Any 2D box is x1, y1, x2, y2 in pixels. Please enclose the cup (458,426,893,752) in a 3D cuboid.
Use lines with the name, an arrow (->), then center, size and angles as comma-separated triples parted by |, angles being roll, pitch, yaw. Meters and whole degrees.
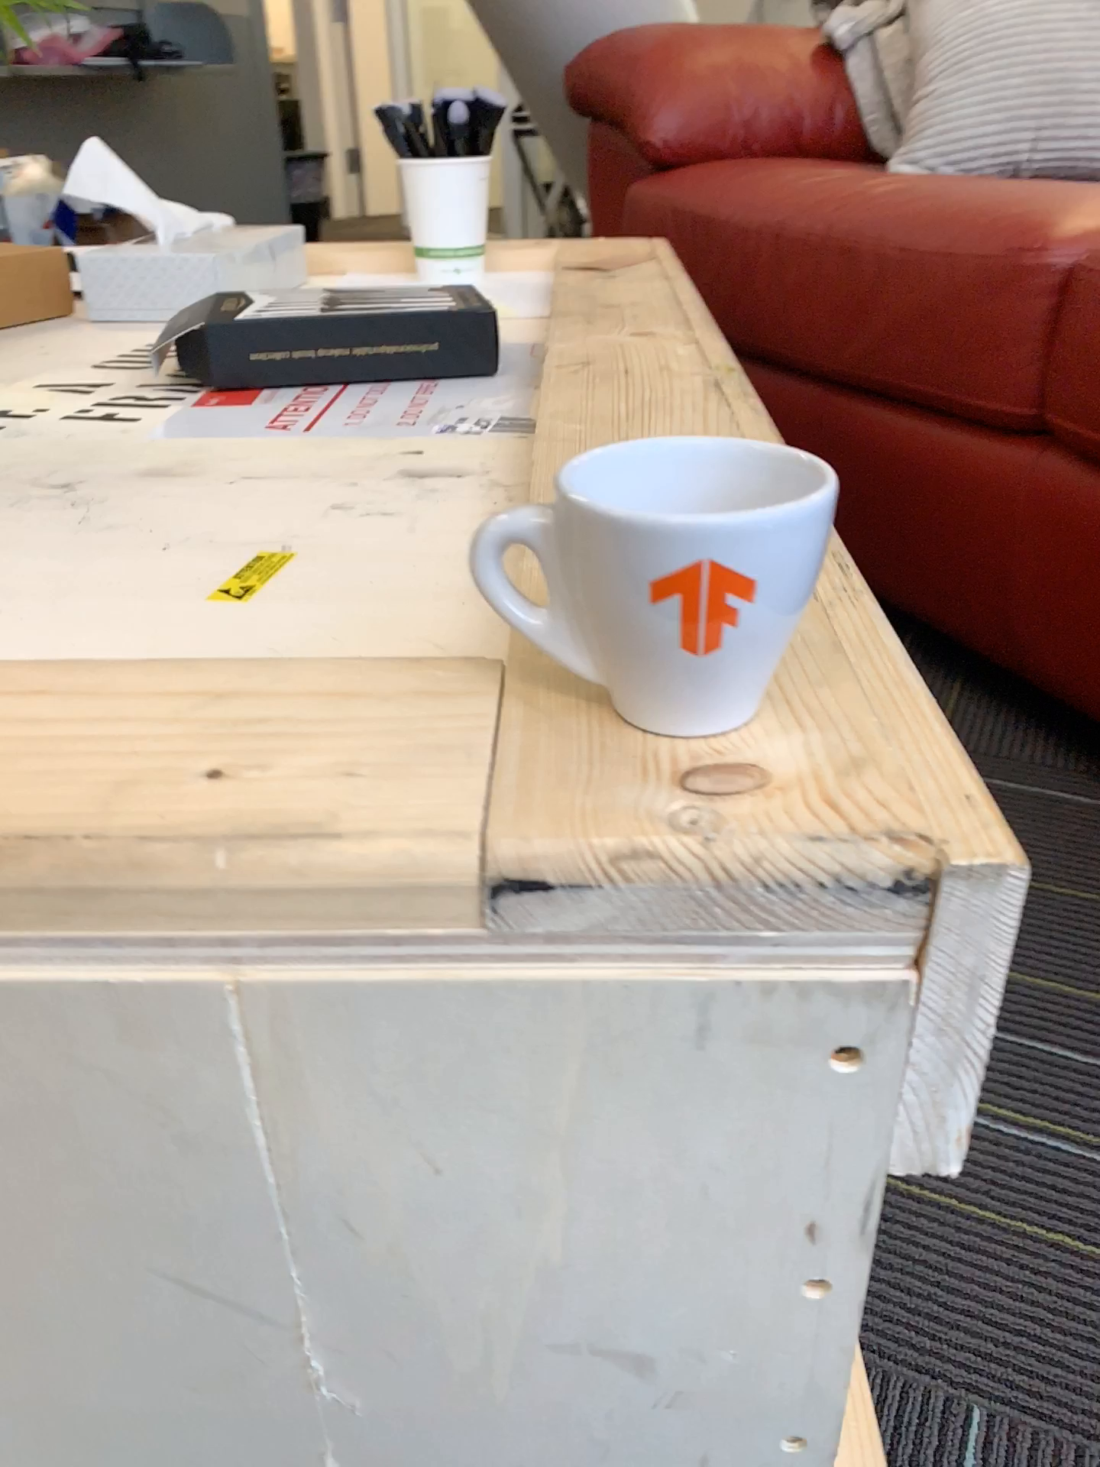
cup -> 0.028, -0.037, 0.276 | 0.090, 0.060, 0.060 | 1, 29, 3
